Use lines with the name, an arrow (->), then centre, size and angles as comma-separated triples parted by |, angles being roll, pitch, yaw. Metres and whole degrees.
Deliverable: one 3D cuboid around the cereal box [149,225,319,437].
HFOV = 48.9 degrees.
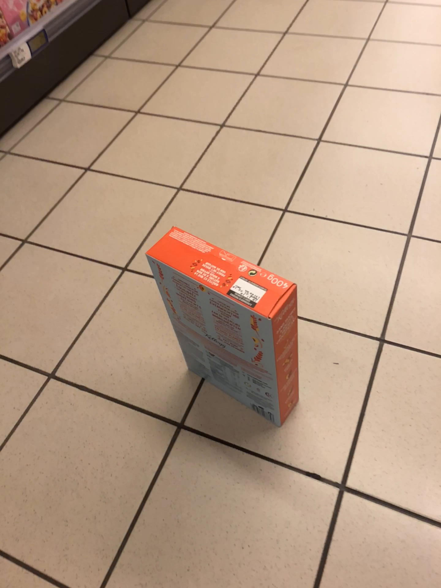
cereal box -> 0.022, 0.050, 0.519 | 0.150, 0.229, 0.050 | 28, 62, 26
